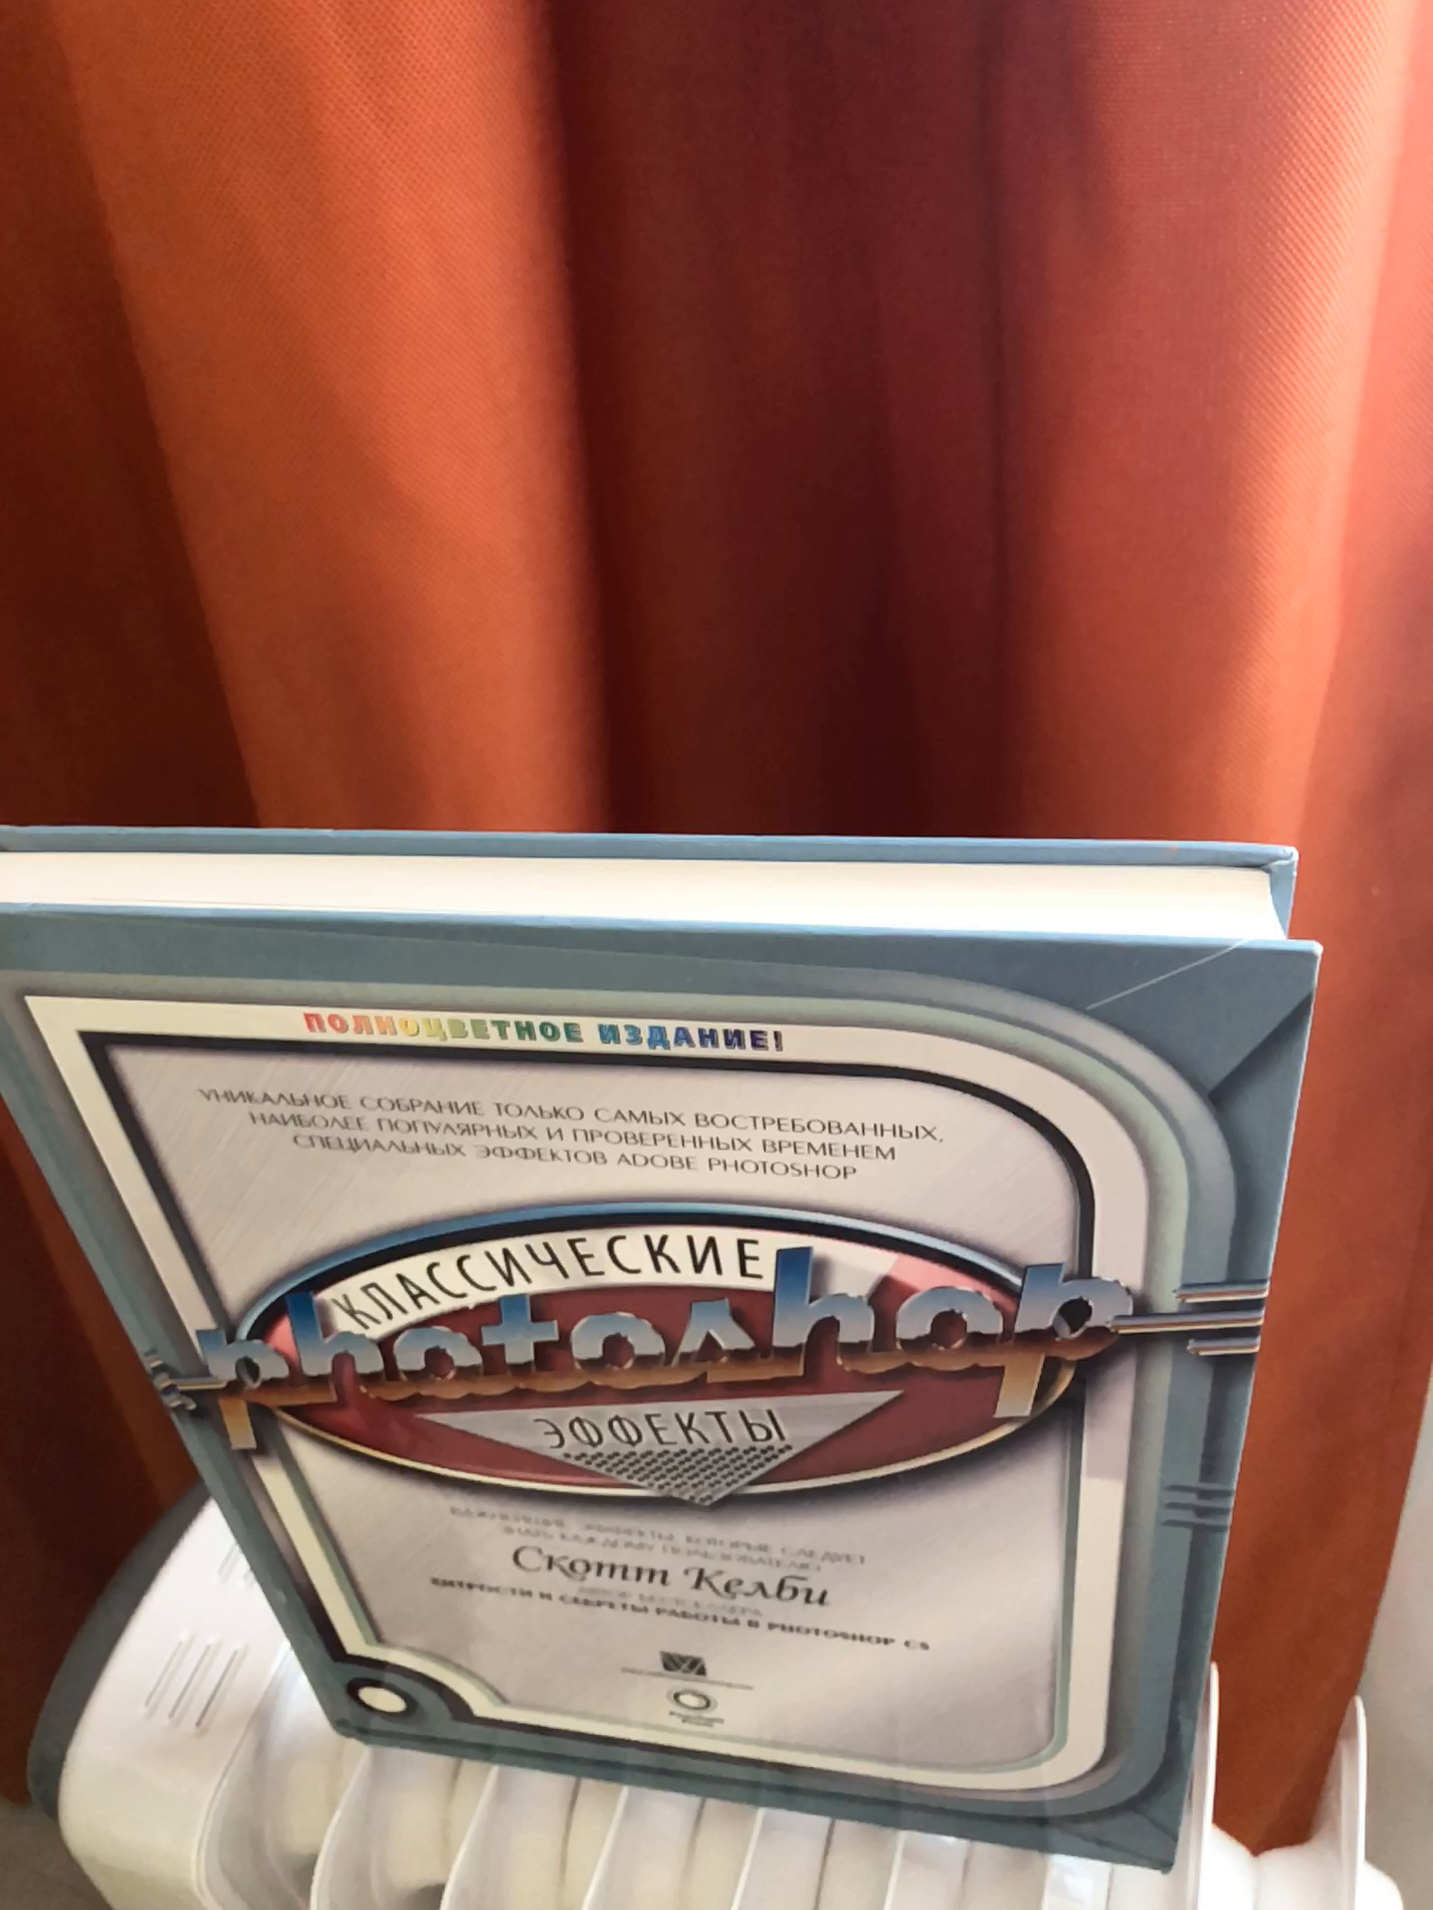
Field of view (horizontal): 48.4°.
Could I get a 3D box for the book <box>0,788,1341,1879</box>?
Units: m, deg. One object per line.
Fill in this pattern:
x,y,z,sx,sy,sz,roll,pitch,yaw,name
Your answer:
-0.010,0.095,0.332,0.225,0.275,0.040,2,39,12,book
